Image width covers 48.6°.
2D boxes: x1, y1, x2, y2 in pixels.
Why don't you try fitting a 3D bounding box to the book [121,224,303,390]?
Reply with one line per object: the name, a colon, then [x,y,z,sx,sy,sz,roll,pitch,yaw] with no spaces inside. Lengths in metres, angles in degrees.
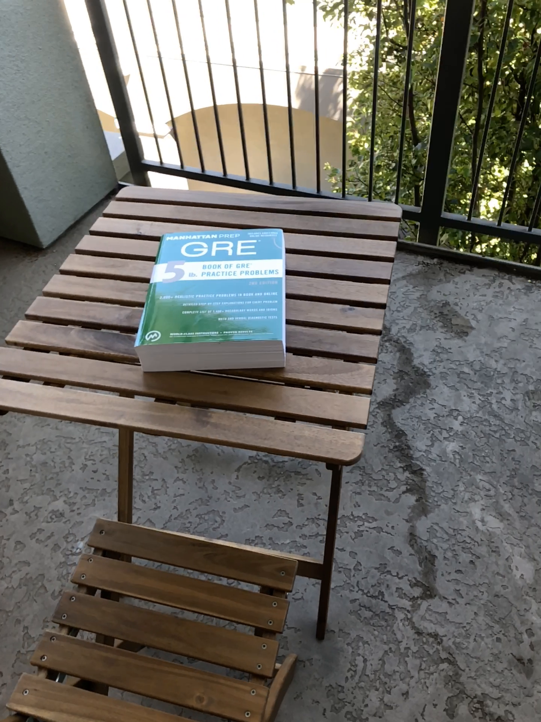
book: [-0.080,-0.096,0.955,0.250,0.060,0.311,-3,46,3]
